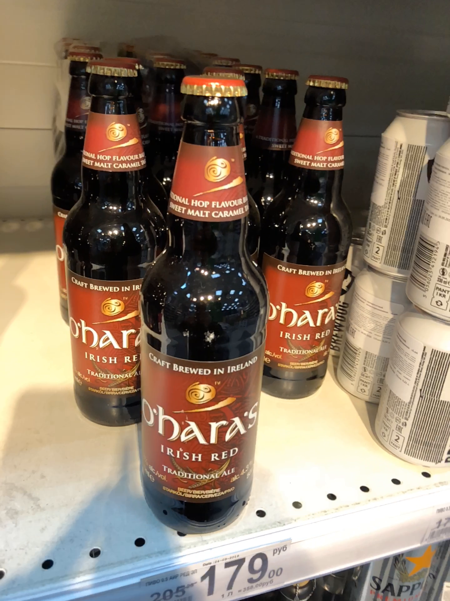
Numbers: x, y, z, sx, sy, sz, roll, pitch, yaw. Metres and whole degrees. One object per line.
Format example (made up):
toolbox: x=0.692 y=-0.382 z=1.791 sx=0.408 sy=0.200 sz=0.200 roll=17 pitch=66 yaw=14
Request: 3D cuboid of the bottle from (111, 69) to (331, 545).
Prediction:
bottle: x=-0.010 y=0.014 z=0.272 sx=0.080 sy=0.246 sz=0.080 roll=3 pitch=26 yaw=-2
